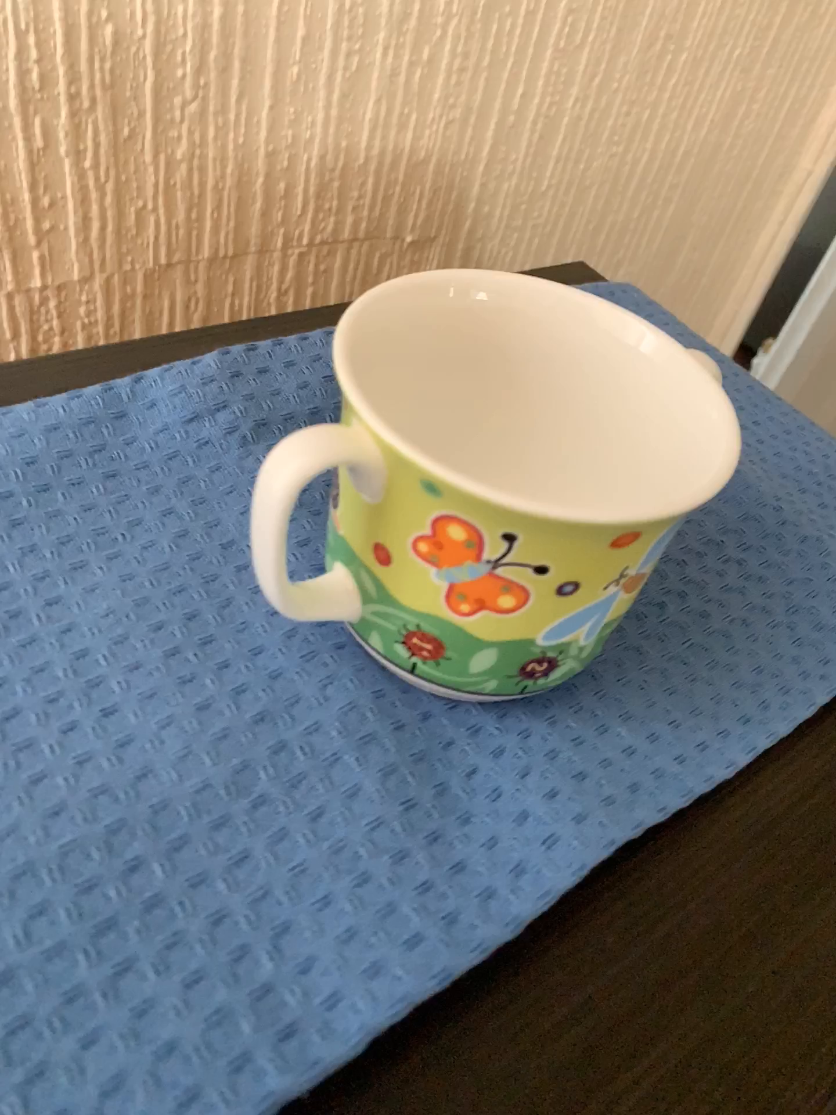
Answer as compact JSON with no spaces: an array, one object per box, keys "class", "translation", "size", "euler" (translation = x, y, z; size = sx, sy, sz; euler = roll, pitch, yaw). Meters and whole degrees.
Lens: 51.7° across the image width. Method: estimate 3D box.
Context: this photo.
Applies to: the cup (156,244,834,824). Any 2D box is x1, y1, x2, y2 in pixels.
[{"class":"cup","translation":[0.013,-0.015,0.201],"size":[0.120,0.069,0.080],"euler":[-20,55,-31]}]
